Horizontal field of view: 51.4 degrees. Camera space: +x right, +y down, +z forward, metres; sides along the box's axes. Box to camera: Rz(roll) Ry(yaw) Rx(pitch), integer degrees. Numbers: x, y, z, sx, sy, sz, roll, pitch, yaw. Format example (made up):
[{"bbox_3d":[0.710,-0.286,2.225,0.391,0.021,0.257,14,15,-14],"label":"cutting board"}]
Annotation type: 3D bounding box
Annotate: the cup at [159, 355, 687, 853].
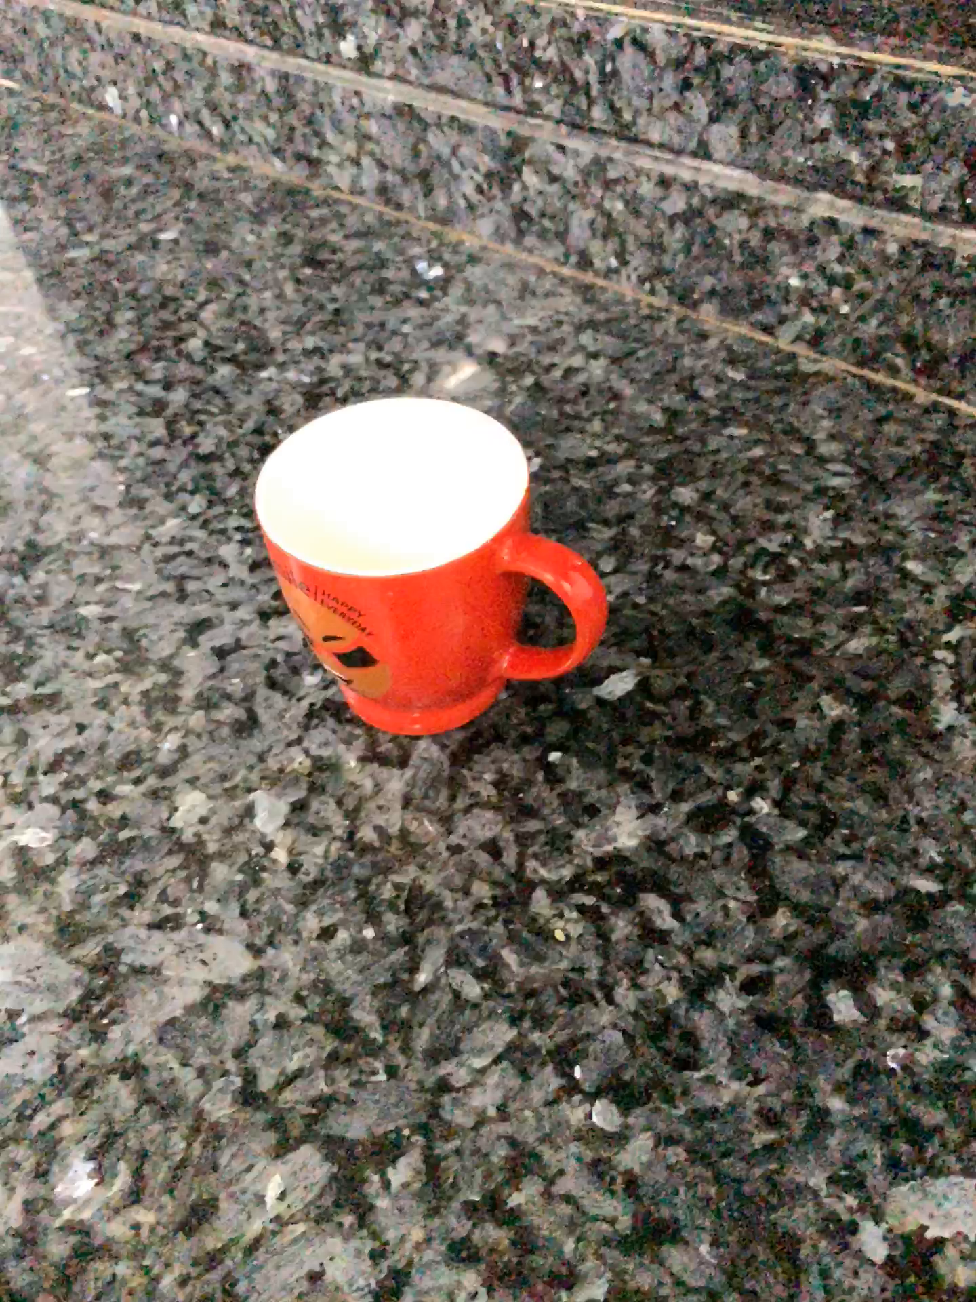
[{"bbox_3d":[-0.016,-0.017,0.274,0.110,0.069,0.070,27,56,26],"label":"cup"}]
